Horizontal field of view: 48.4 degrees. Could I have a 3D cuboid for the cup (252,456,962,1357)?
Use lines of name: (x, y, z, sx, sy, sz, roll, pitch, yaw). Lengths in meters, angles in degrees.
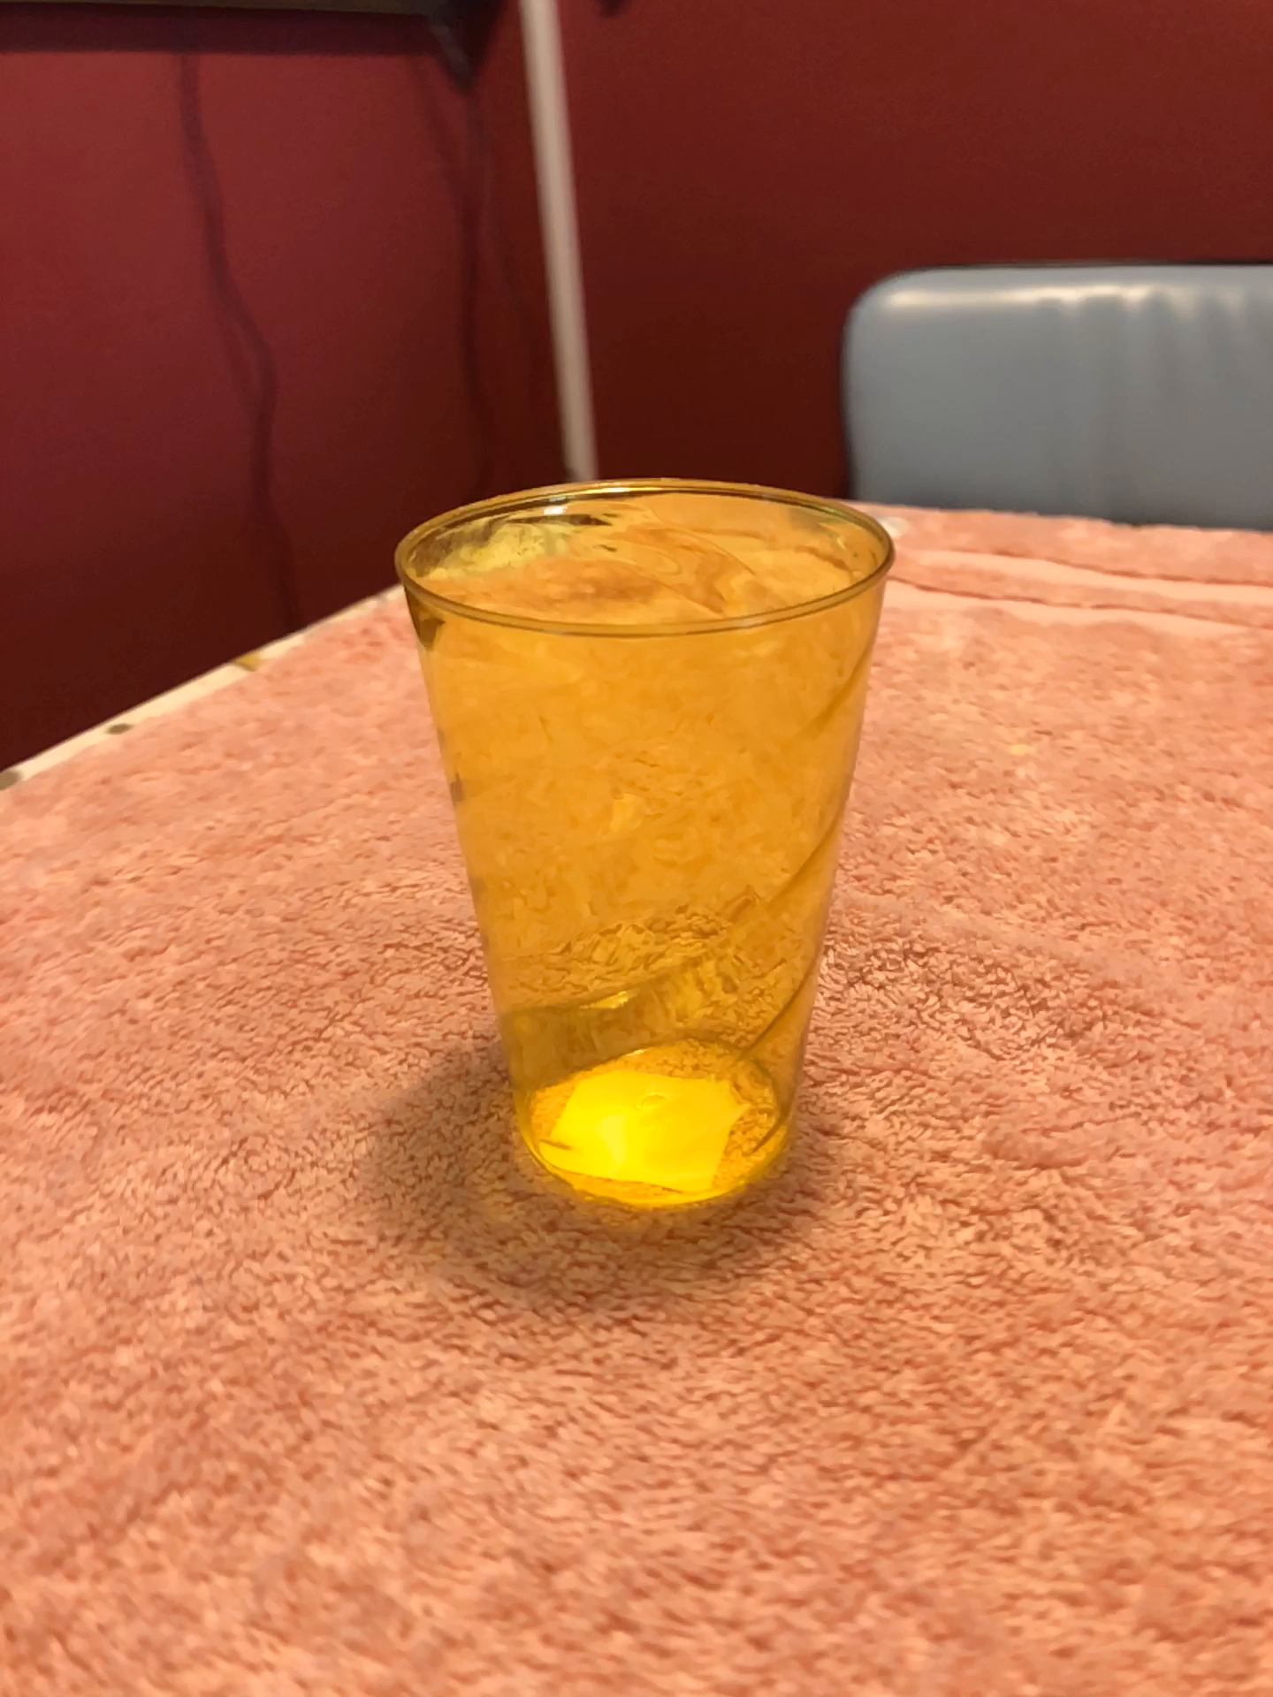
cup: (-0.001, 0.003, 0.252, 0.080, 0.119, 0.080, -4, 27, 2)
